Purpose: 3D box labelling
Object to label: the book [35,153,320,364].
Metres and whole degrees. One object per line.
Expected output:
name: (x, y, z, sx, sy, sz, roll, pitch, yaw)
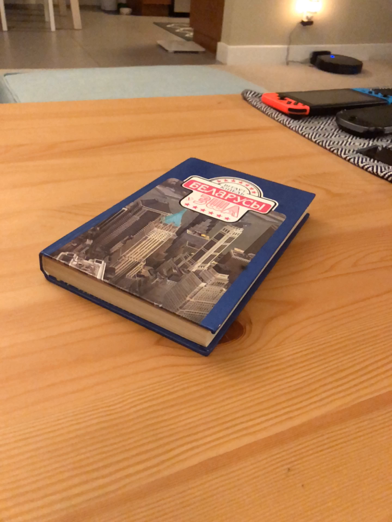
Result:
book: (0.001, -0.026, 0.377, 0.146, 0.030, 0.225, 22, 39, 21)
